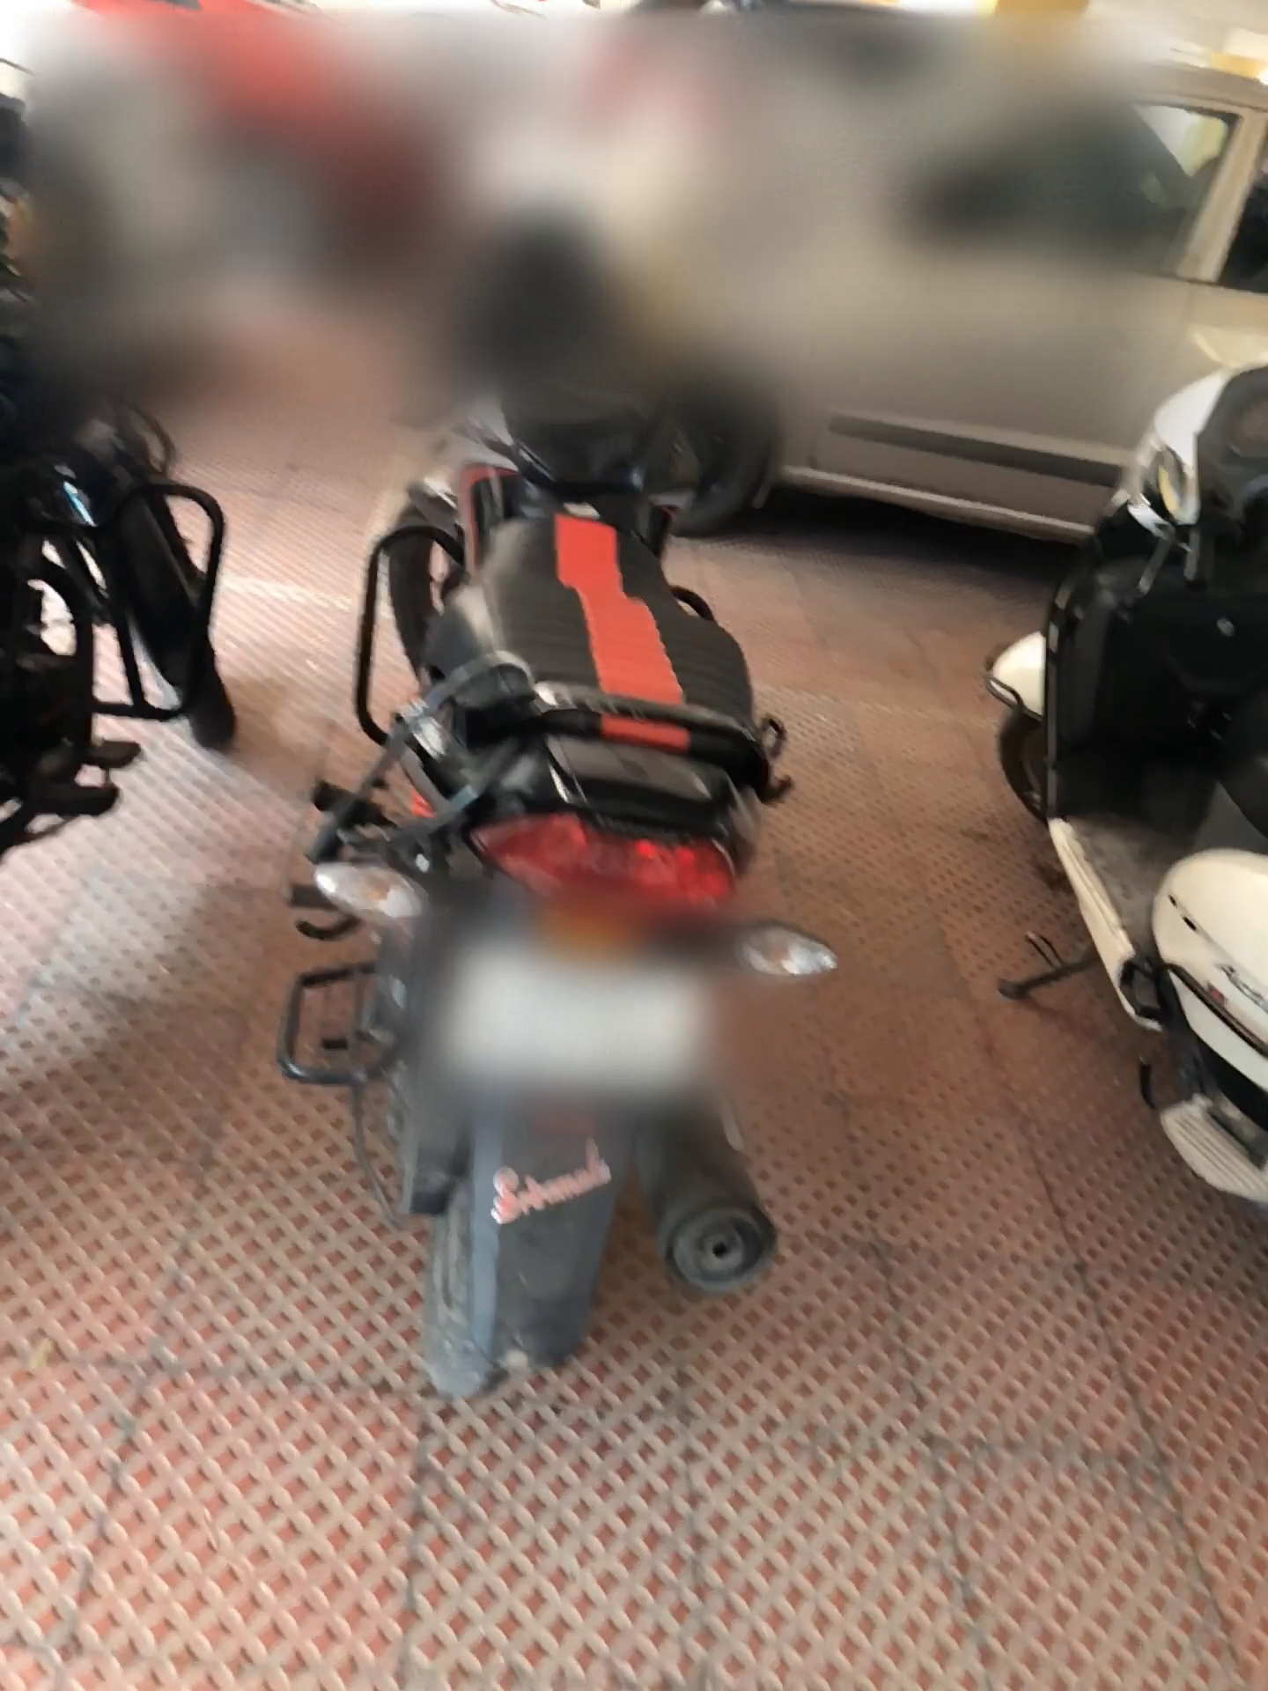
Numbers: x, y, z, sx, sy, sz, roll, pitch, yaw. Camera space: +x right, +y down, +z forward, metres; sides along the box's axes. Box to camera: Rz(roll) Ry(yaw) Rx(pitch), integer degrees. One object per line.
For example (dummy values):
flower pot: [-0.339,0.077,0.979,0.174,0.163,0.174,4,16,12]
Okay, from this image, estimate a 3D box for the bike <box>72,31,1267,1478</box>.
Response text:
bike: [-0.223,-0.266,1.722,0.746,1.011,1.561,4,33,-17]
